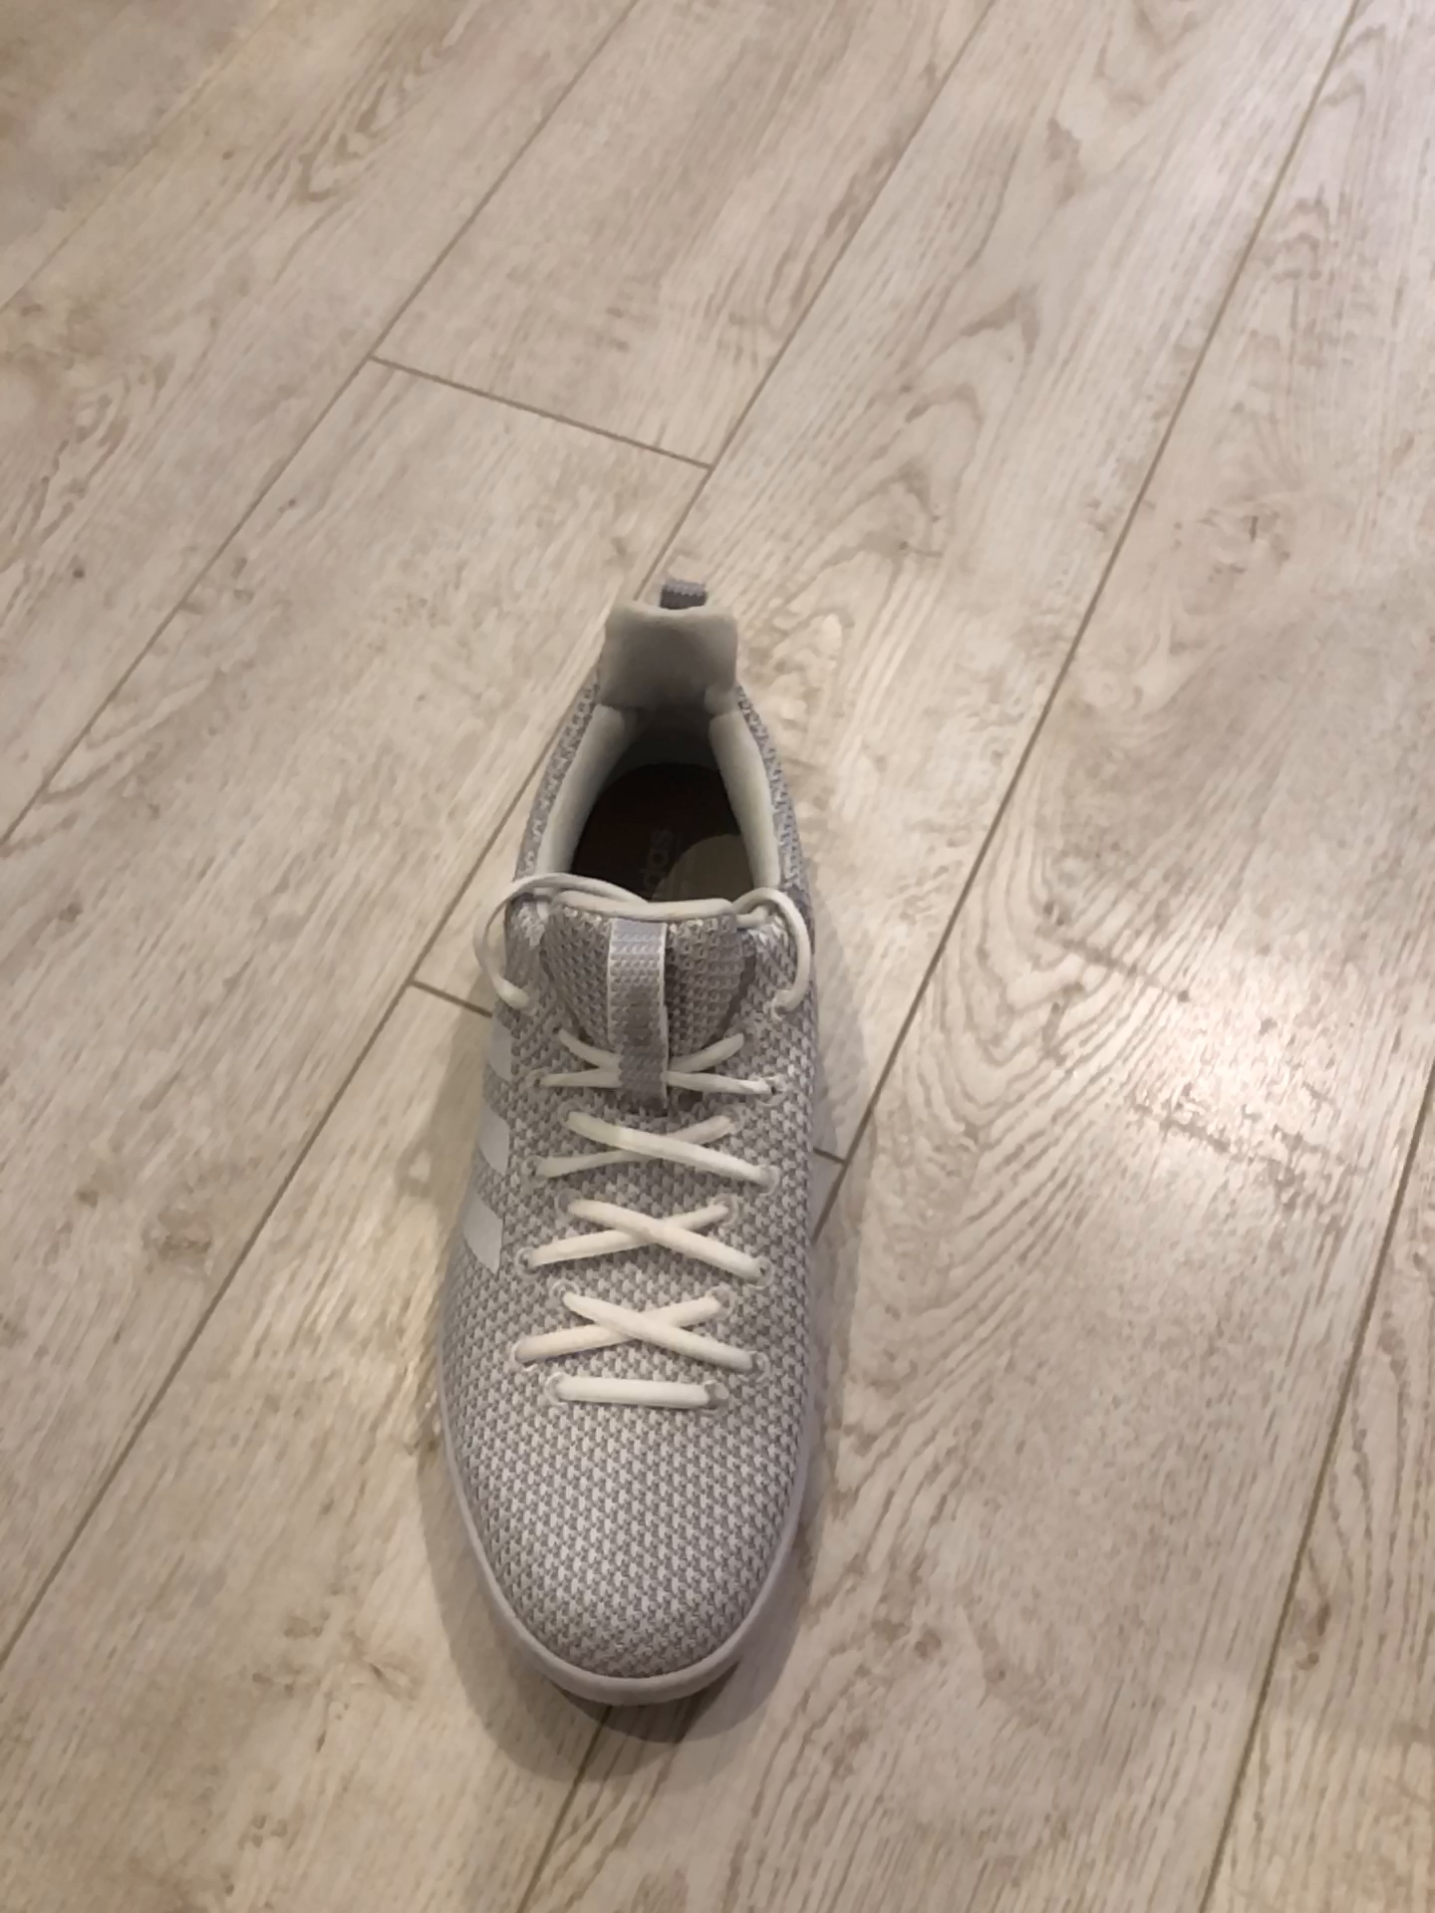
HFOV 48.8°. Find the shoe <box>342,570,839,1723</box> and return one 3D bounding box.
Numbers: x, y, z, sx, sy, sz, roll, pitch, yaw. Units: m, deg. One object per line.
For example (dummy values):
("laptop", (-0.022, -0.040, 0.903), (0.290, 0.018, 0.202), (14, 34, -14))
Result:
("shoe", (-0.019, 0.045, 0.431), (0.100, 0.110, 0.291), (1, 63, 3))
